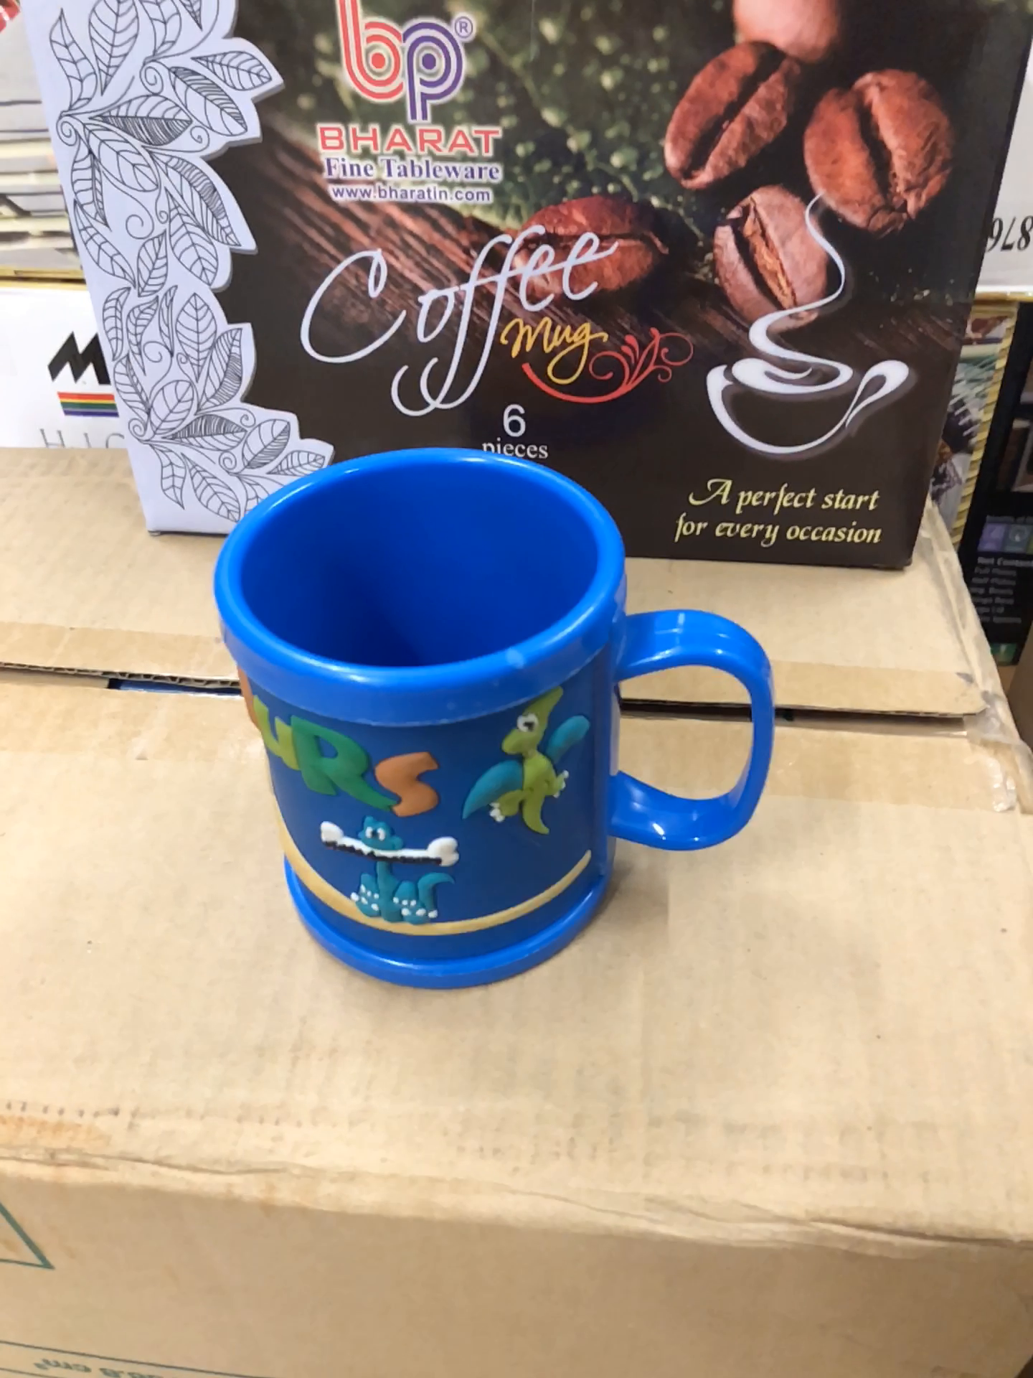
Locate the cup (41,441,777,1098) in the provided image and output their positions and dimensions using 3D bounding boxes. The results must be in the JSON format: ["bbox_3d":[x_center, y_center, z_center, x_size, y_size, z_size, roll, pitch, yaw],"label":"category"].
[{"bbox_3d":[-0.012,0.014,0.248,0.120,0.089,0.091,7,43,10],"label":"cup"}]
